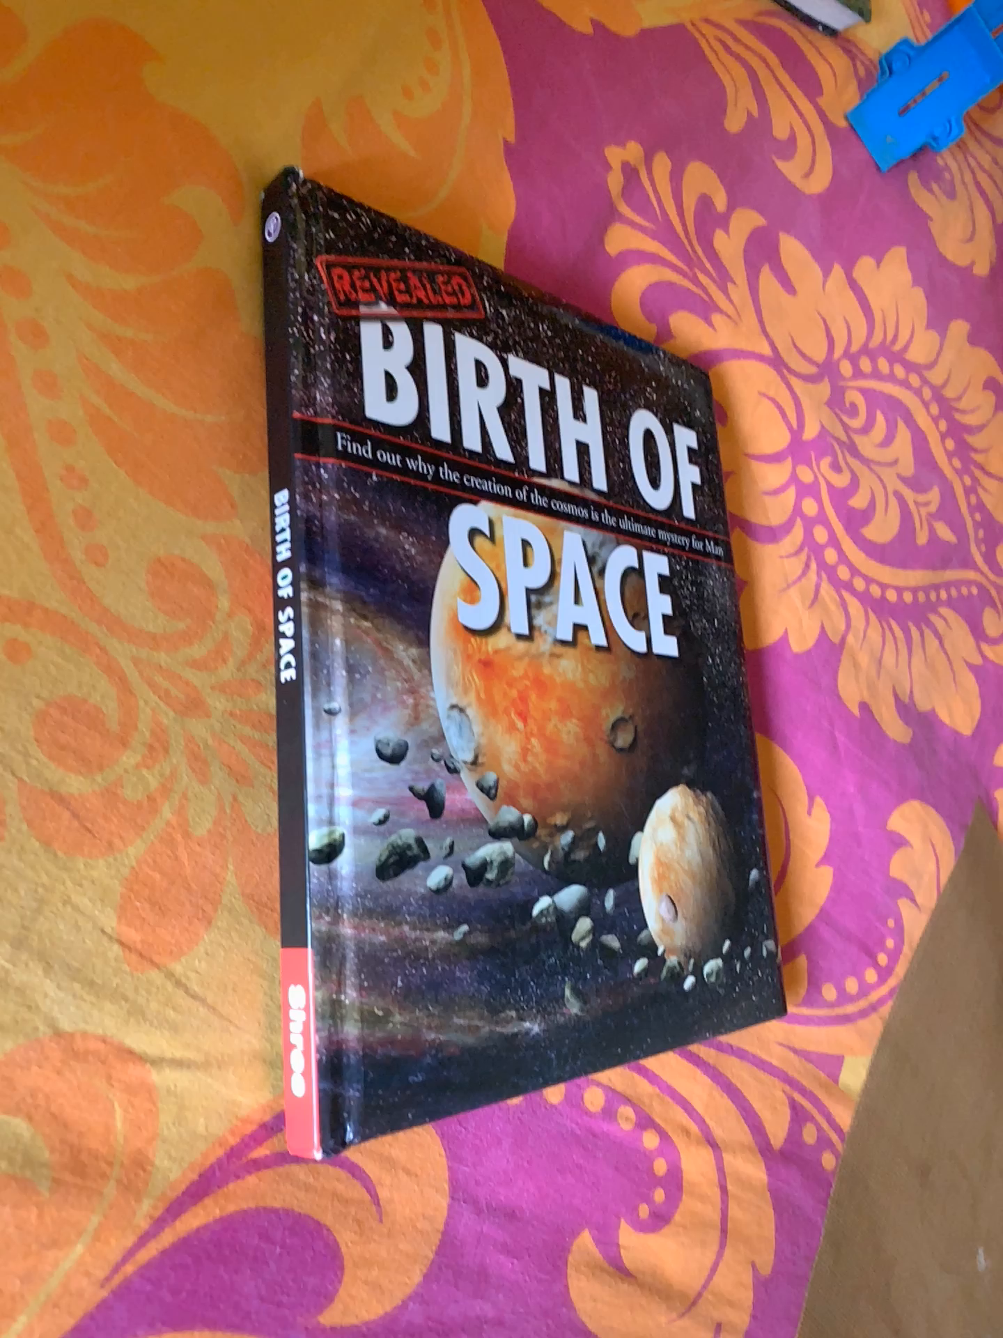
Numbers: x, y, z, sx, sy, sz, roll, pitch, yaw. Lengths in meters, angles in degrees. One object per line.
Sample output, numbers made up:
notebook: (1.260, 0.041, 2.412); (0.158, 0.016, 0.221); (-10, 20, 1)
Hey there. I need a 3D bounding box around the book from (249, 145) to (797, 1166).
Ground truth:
book: (0.019, -0.005, 0.337); (0.212, 0.020, 0.258); (7, 76, -44)
